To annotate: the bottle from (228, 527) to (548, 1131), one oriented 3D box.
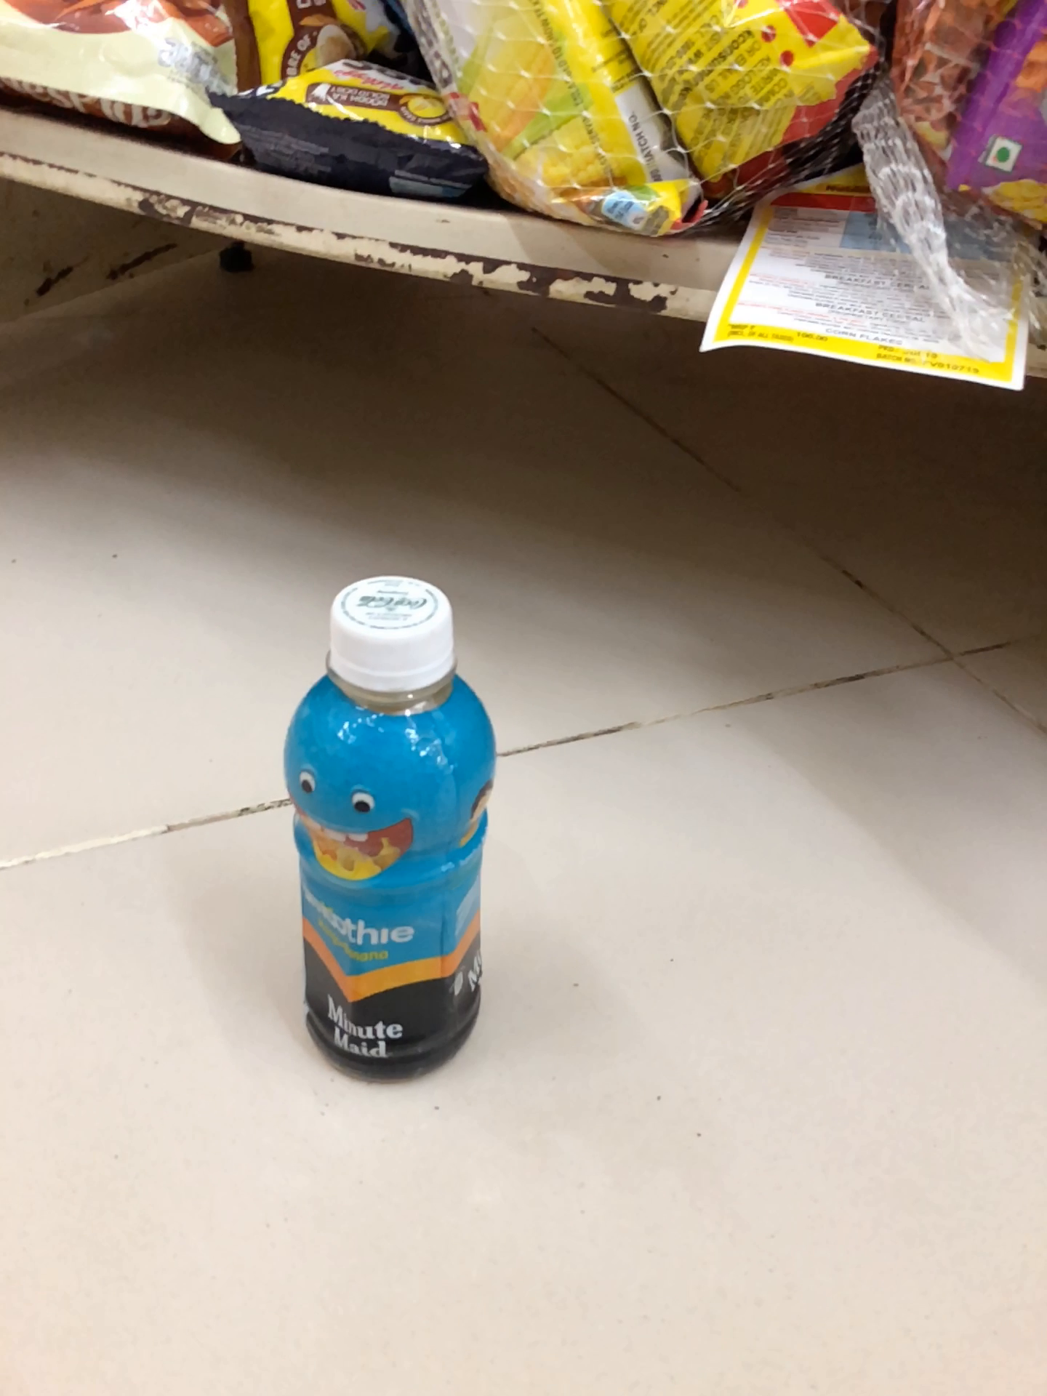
[{"bbox_3d":[-0.036,0.041,0.332,0.060,0.159,0.060,3,34,-2],"label":"bottle"}]
